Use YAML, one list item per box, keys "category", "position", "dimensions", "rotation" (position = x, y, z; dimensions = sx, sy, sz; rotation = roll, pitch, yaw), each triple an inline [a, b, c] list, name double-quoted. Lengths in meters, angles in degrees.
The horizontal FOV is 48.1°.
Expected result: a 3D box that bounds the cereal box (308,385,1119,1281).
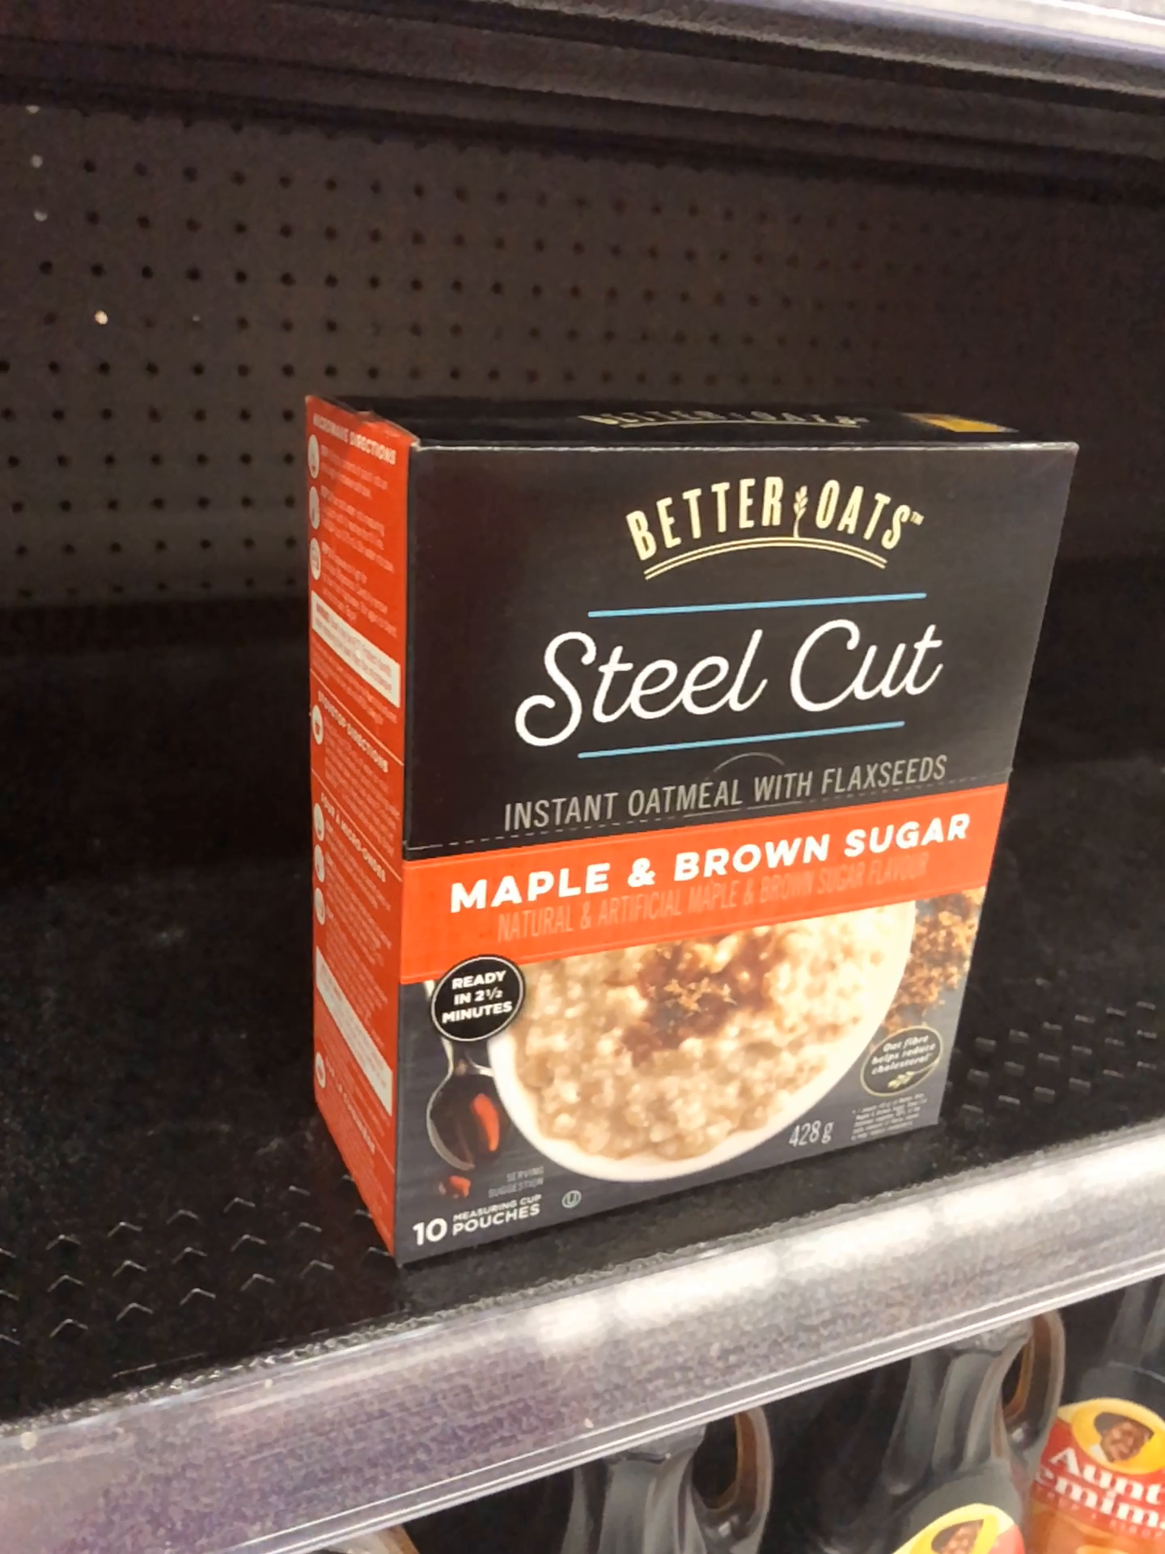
- category: "cereal box"
  position: [0.023, 0.005, 0.313]
  dimensions: [0.160, 0.179, 0.070]
  rotation: [-7, 25, -25]
